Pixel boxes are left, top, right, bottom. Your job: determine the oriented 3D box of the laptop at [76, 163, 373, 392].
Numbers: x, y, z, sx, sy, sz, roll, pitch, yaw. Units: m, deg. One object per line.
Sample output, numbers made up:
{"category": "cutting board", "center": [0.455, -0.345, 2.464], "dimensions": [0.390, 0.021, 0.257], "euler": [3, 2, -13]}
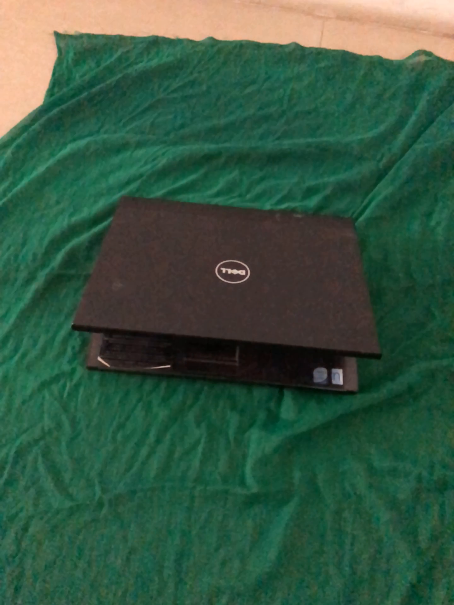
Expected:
{"category": "laptop", "center": [0.008, -0.032, 0.586], "dimensions": [0.306, 0.066, 0.227], "euler": [6, 68, -1]}
